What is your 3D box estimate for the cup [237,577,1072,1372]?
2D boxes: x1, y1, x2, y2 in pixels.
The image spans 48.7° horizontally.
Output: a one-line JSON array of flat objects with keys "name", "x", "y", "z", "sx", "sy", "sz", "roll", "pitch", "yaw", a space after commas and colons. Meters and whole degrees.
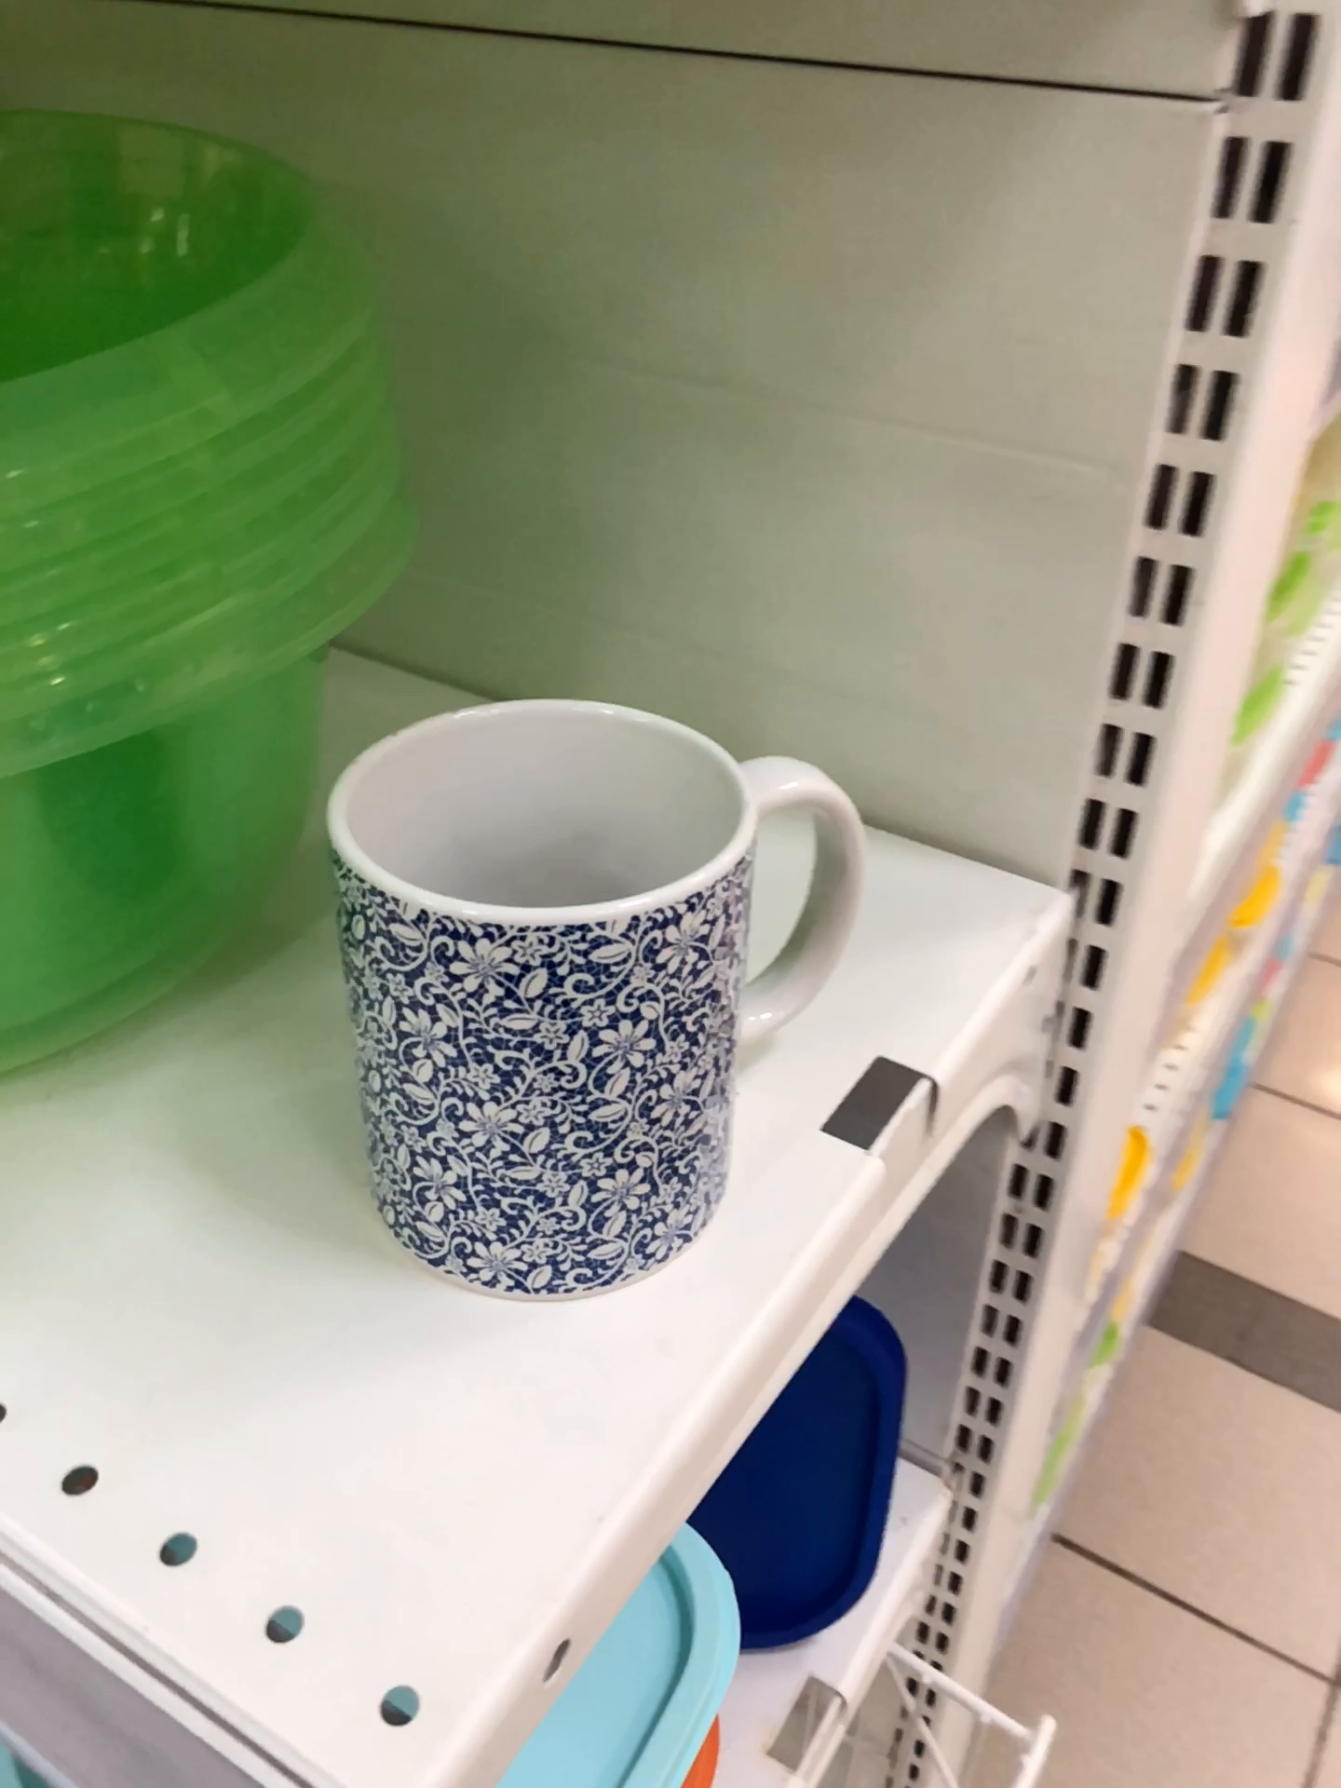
[{"name": "cup", "x": -0.004, "y": 0.008, "z": 0.327, "sx": 0.138, "sy": 0.098, "sz": 0.098, "roll": -21, "pitch": 40, "yaw": -28}]
